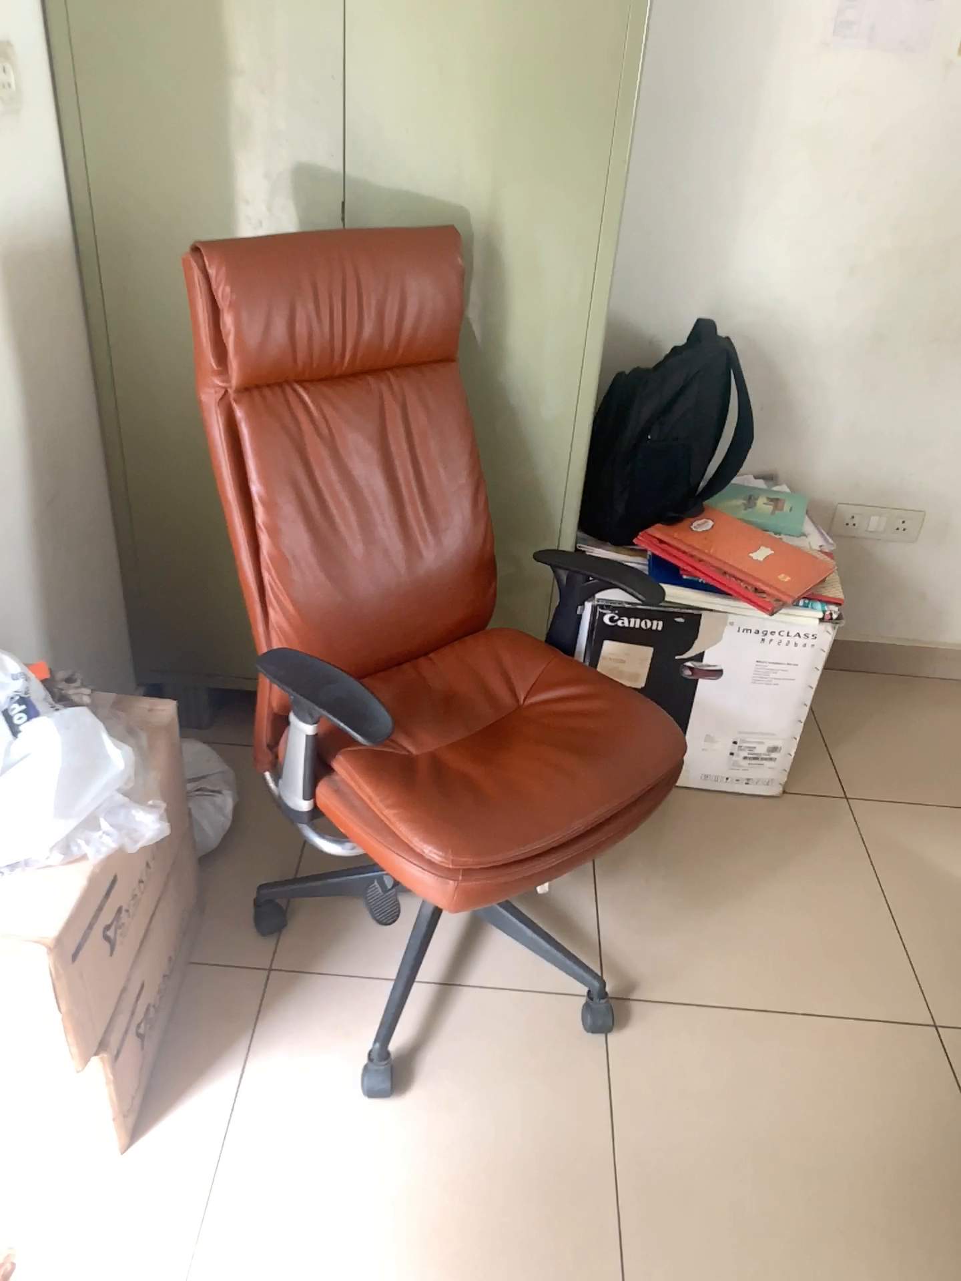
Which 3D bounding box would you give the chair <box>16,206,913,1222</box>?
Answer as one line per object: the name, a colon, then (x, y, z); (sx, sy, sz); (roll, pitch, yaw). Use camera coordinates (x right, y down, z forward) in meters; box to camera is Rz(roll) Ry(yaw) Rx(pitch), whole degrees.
chair: (-0.102, 0.014, 1.513); (0.691, 1.085, 0.932); (-22, 41, -35)
